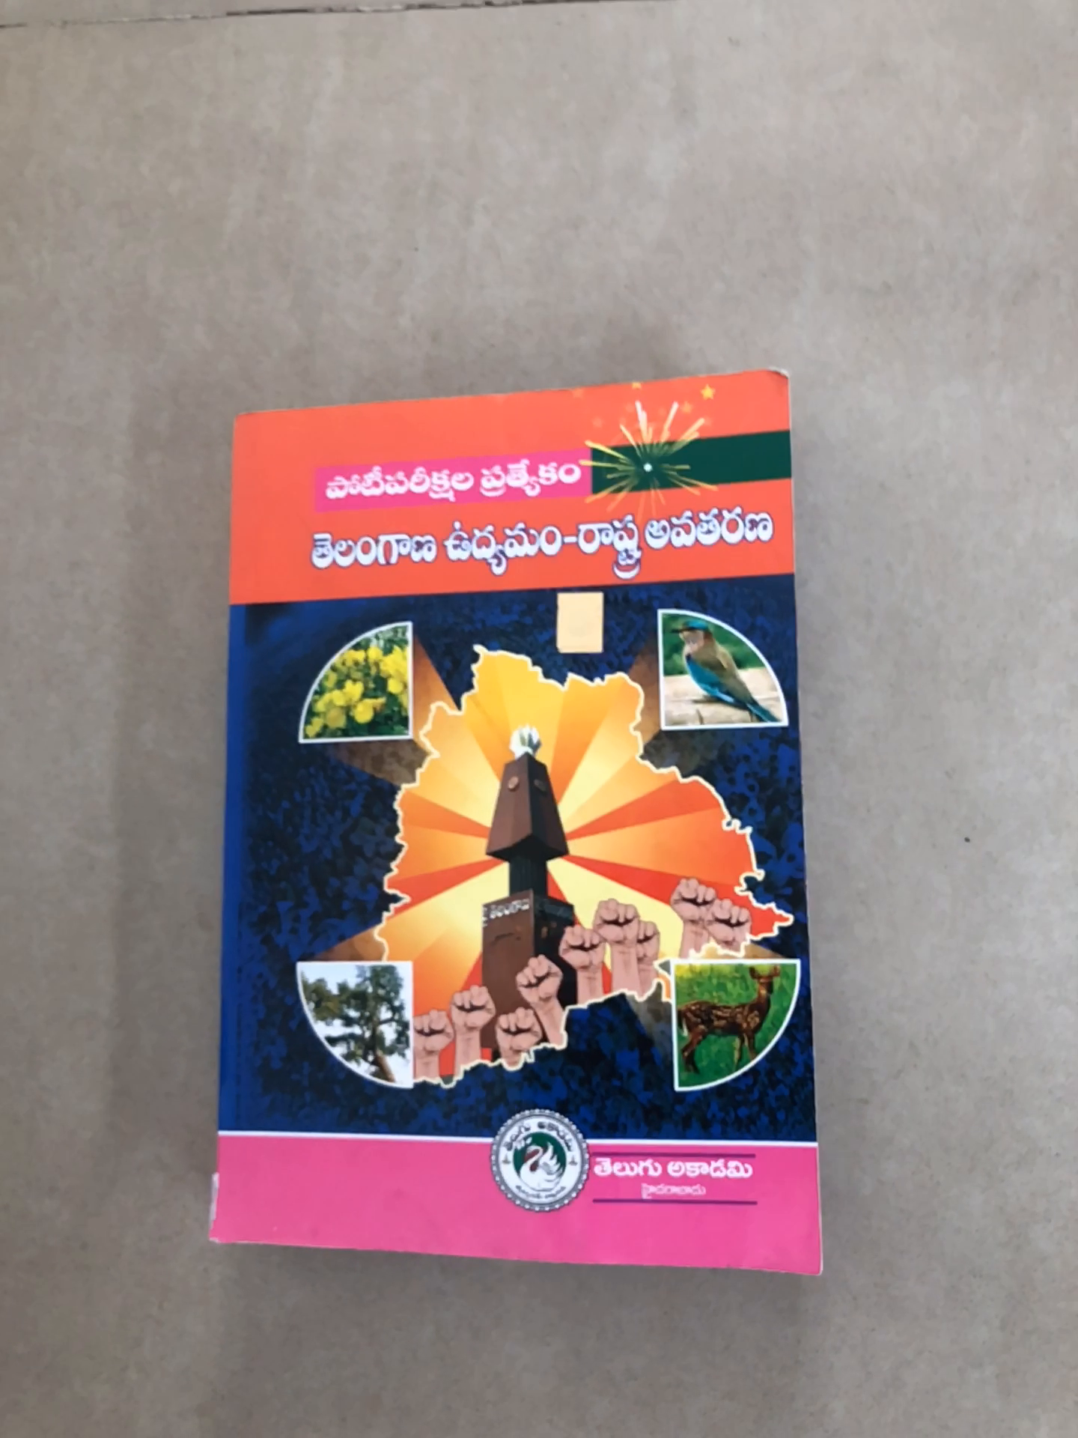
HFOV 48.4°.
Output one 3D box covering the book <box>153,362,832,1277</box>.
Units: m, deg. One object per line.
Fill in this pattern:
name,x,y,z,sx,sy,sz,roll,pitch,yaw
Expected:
book,-0.017,0.029,0.385,0.202,0.040,0.265,-2,82,10
